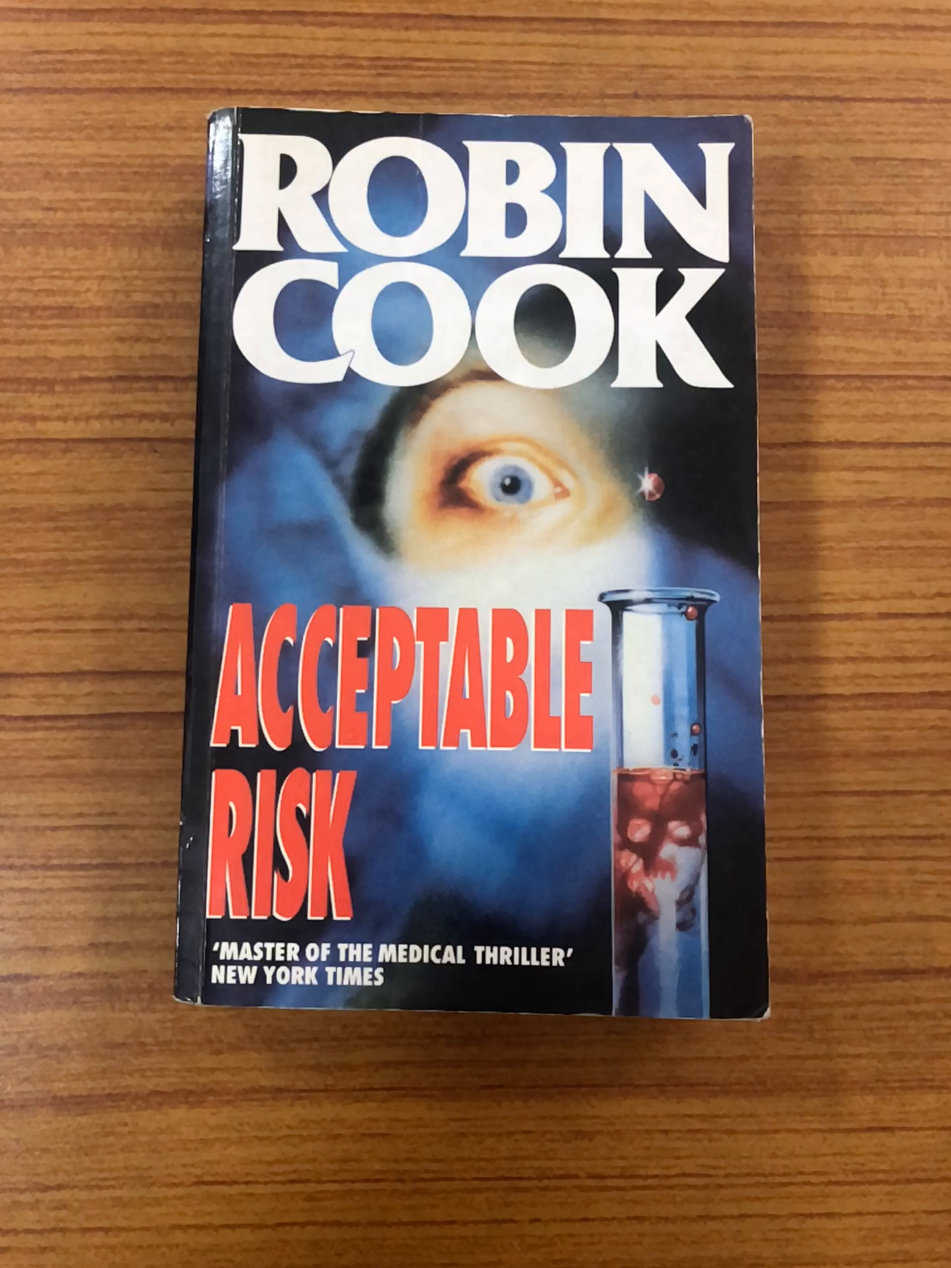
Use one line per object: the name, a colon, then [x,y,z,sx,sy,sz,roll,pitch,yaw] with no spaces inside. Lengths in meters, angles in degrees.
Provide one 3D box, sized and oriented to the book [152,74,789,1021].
book: [0.001,-0.017,0.214,0.110,0.040,0.170,2,85,-1]
